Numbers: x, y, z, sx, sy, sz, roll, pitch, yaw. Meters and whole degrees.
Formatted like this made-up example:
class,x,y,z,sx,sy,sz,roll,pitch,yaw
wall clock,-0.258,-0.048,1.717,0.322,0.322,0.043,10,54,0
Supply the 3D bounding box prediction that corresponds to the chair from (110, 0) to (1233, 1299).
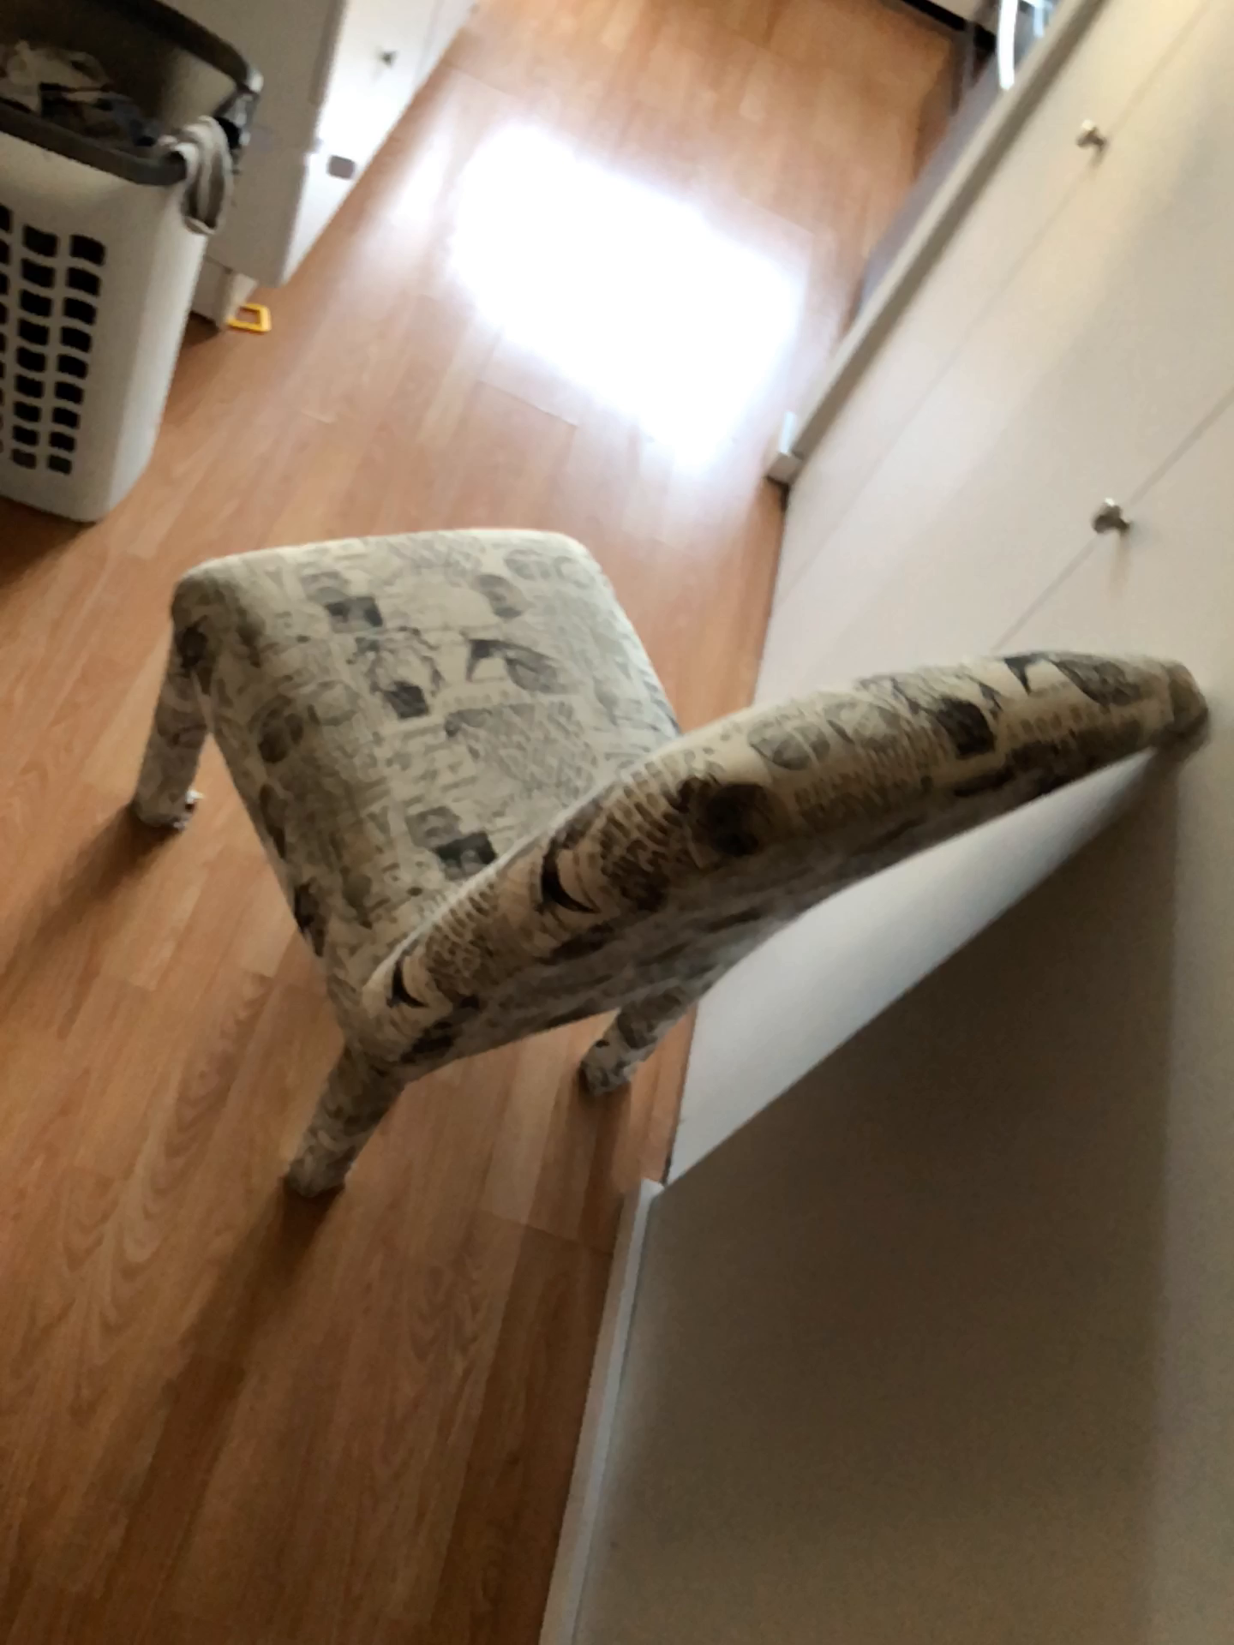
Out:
class,x,y,z,sx,sy,sz,roll,pitch,yaw
chair,-0.082,-0.089,1.324,0.521,0.997,0.670,-12,64,-33
